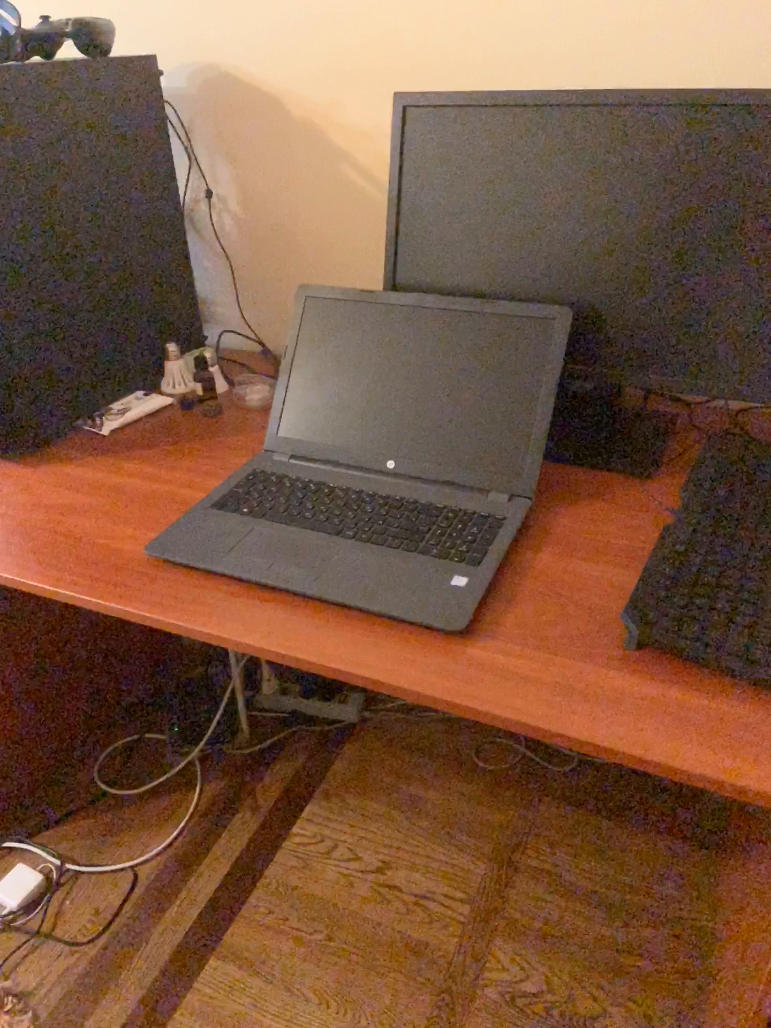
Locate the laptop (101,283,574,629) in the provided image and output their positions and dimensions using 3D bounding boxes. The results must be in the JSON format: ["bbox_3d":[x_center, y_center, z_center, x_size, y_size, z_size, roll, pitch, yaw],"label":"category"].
[{"bbox_3d":[-0.023,-0.104,0.891,0.372,0.188,0.393,11,34,21],"label":"laptop"}]
